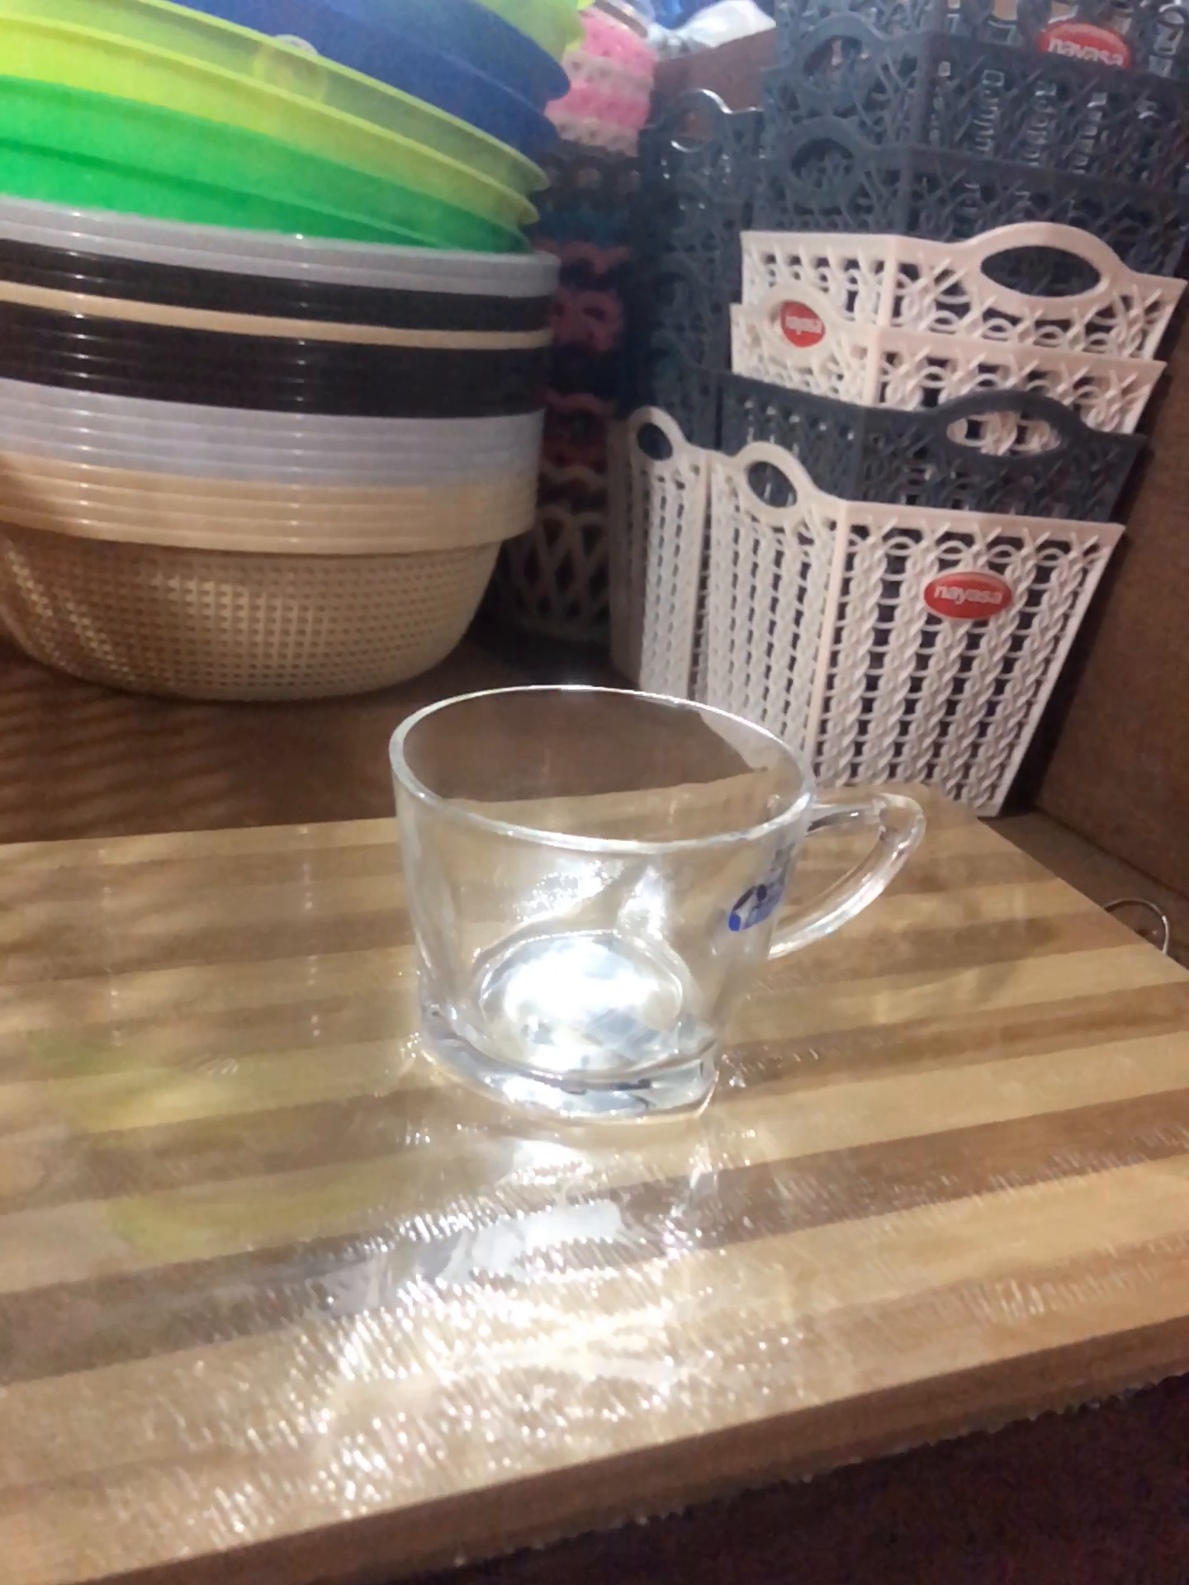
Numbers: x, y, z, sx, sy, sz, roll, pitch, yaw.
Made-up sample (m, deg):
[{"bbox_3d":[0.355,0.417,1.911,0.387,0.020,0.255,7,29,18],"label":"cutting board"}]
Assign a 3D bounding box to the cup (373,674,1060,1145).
[{"bbox_3d":[0.017,0.017,0.257,0.110,0.060,0.070,-1,24,-16],"label":"cup"}]
